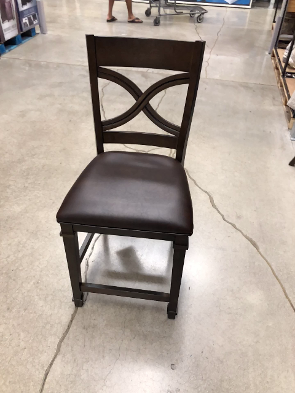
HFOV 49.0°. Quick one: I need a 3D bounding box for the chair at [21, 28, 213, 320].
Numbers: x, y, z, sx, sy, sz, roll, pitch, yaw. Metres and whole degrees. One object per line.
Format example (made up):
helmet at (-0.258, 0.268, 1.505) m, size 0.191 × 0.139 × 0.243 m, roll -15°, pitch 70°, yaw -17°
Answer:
chair at (-0.060, -0.066, 1.393) m, size 0.490 × 1.028 × 0.651 m, roll 6°, pitch 40°, yaw 4°
